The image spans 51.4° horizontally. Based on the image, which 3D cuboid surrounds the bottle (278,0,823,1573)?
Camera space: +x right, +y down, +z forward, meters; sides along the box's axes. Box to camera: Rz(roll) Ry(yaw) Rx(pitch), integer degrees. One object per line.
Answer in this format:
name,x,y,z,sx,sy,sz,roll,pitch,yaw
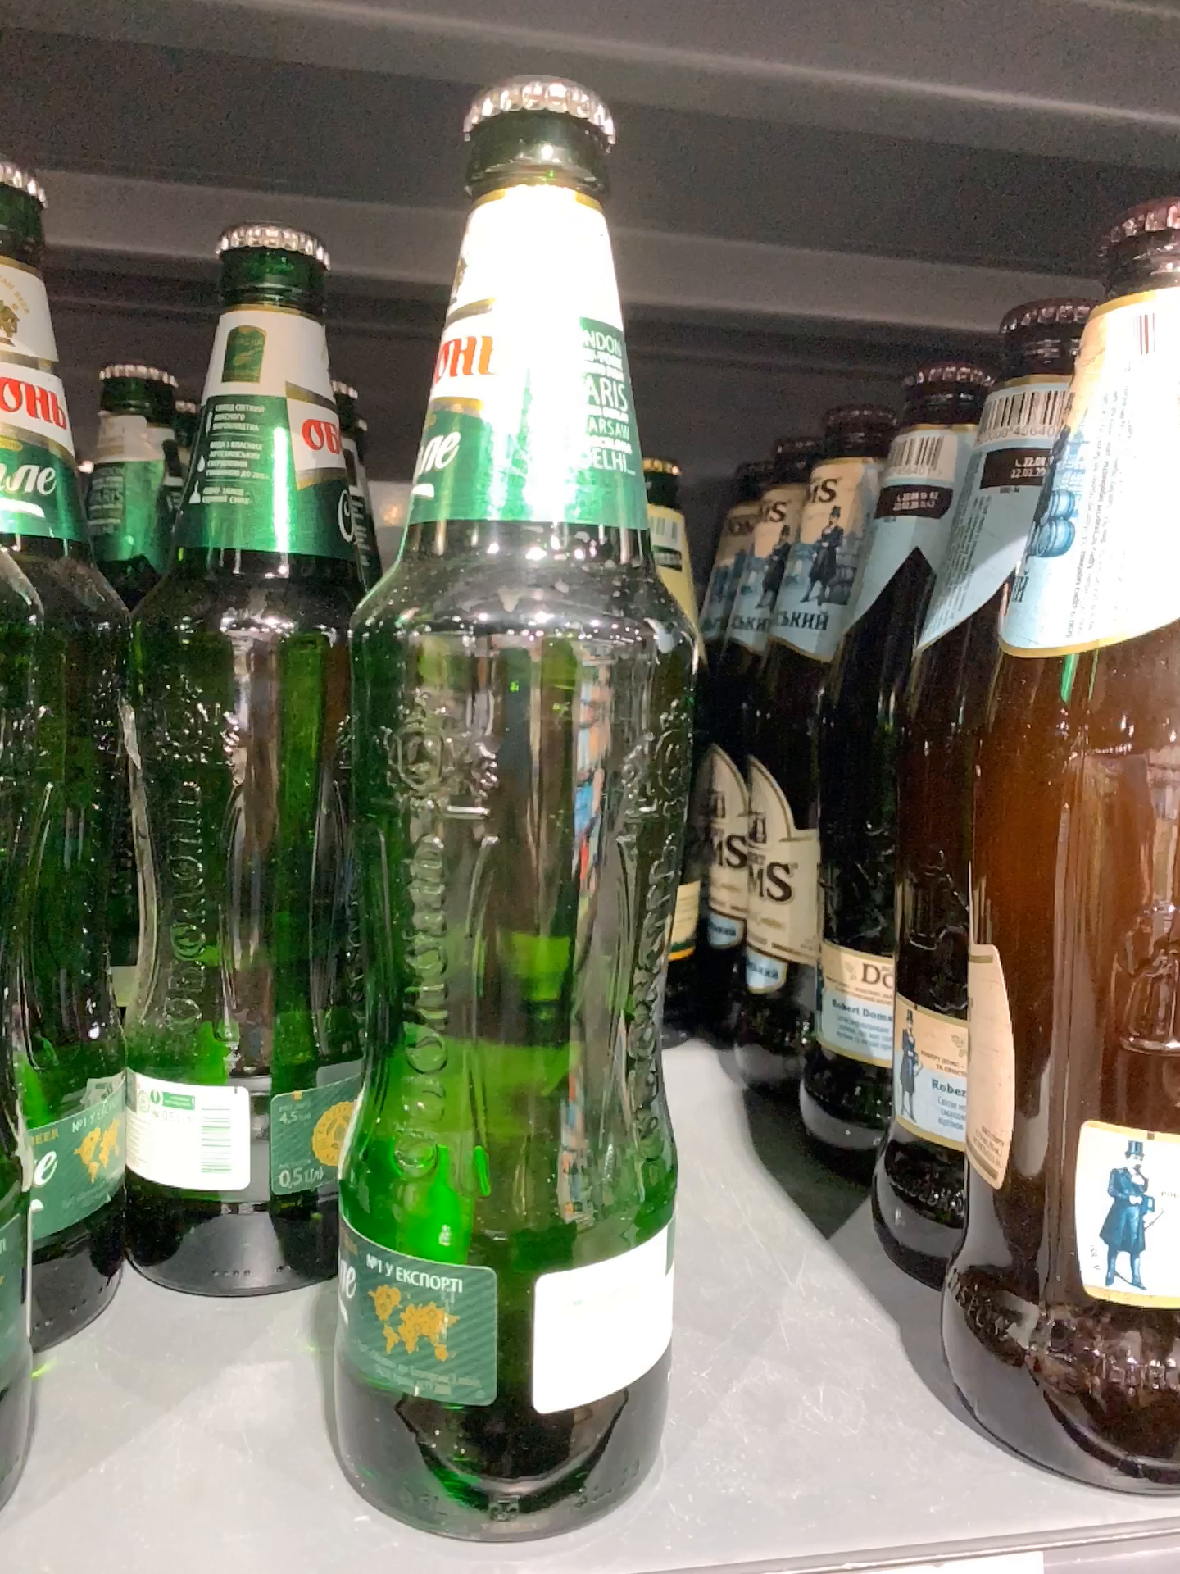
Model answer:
bottle,-0.013,-0.001,0.235,0.070,0.257,0.073,2,5,0
